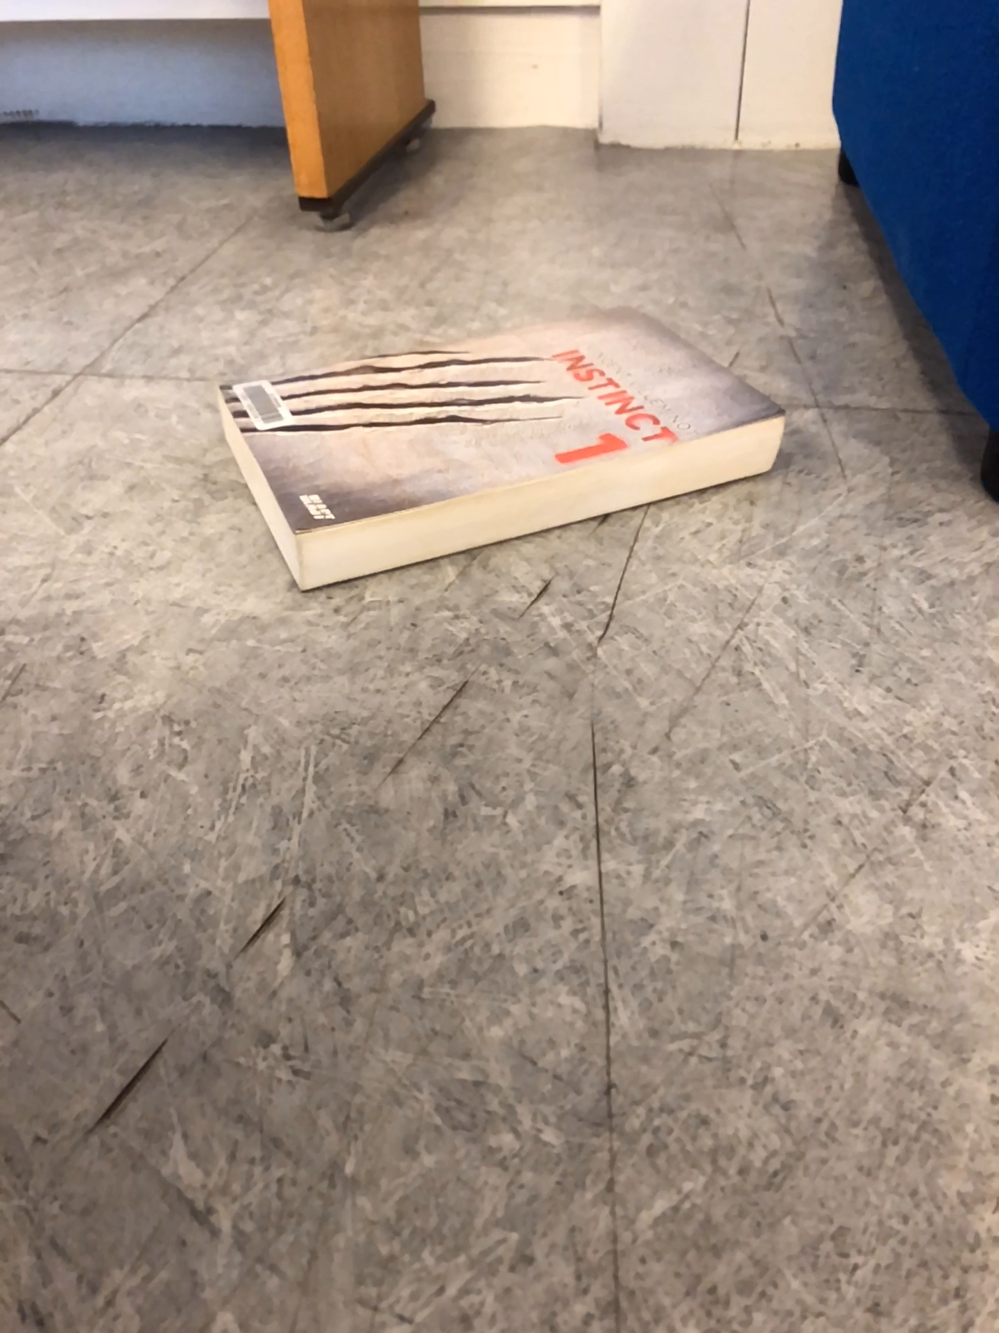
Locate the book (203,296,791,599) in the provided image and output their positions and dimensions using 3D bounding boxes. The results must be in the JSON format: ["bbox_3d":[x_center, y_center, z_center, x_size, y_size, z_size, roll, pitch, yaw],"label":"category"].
[{"bbox_3d":[-0.006,-0.104,0.474,0.210,0.028,0.142,-17,41,-17],"label":"book"}]
